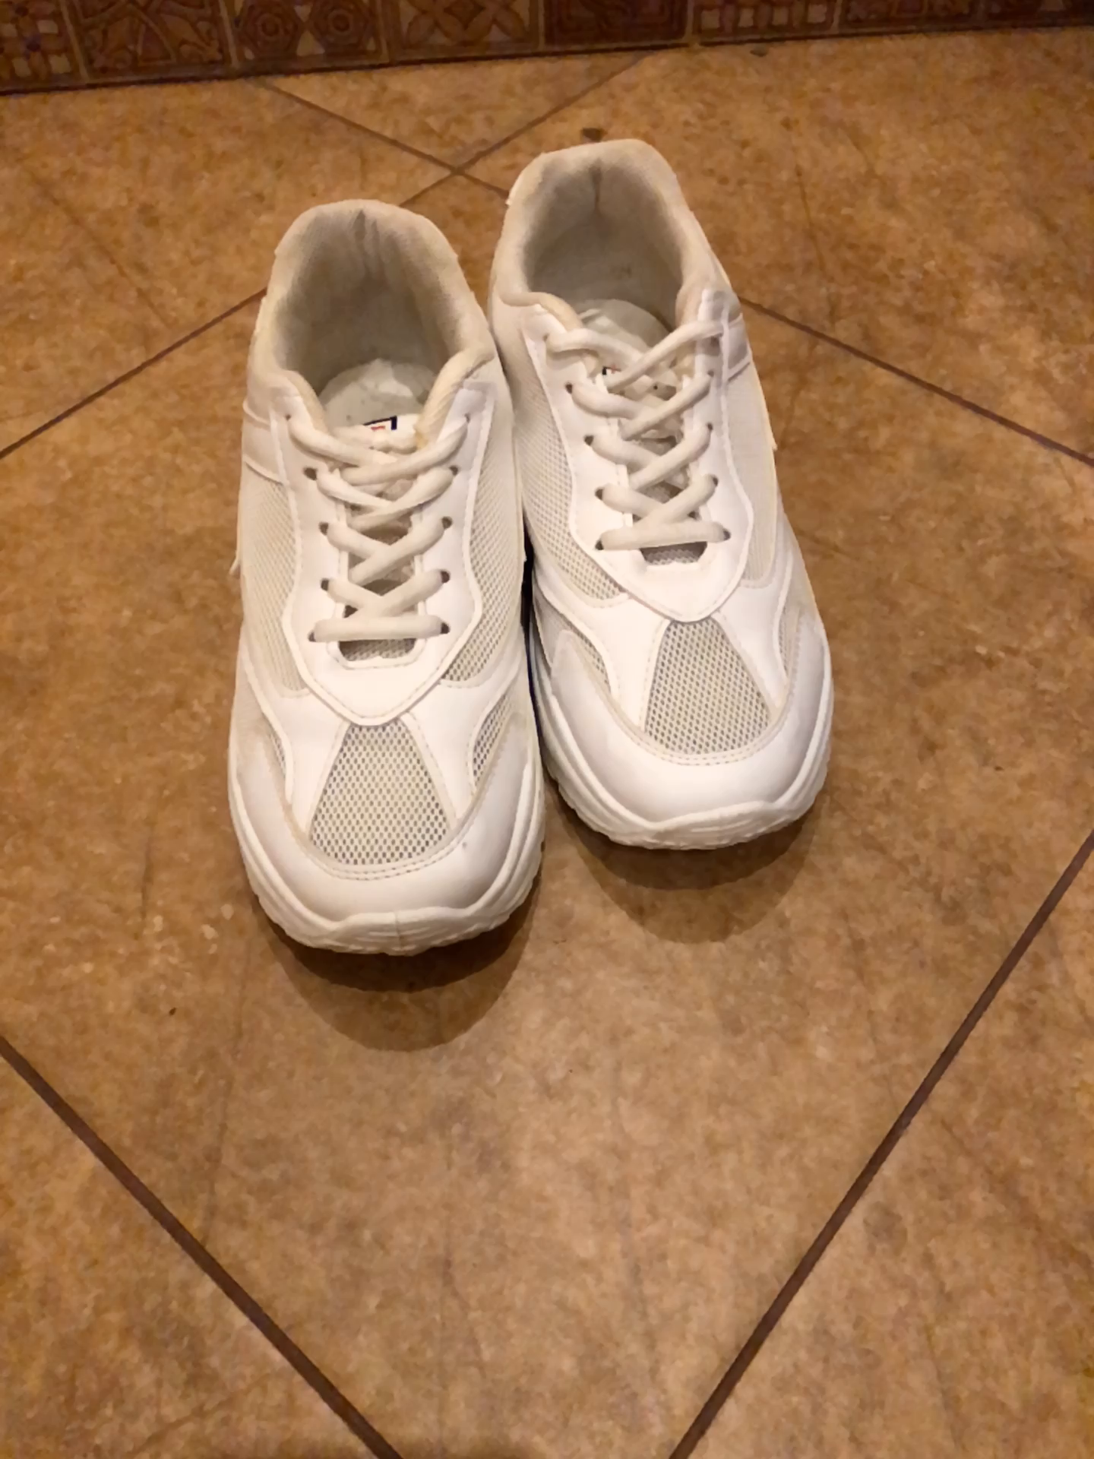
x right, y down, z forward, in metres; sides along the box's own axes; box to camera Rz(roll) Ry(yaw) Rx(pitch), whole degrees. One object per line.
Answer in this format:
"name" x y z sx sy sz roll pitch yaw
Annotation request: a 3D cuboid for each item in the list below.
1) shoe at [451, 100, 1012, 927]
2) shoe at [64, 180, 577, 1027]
"shoe" 0.038 -0.080 0.391 0.110 0.109 0.251 -6 55 -3
"shoe" -0.058 -0.048 0.375 0.110 0.109 0.241 -5 55 -2
